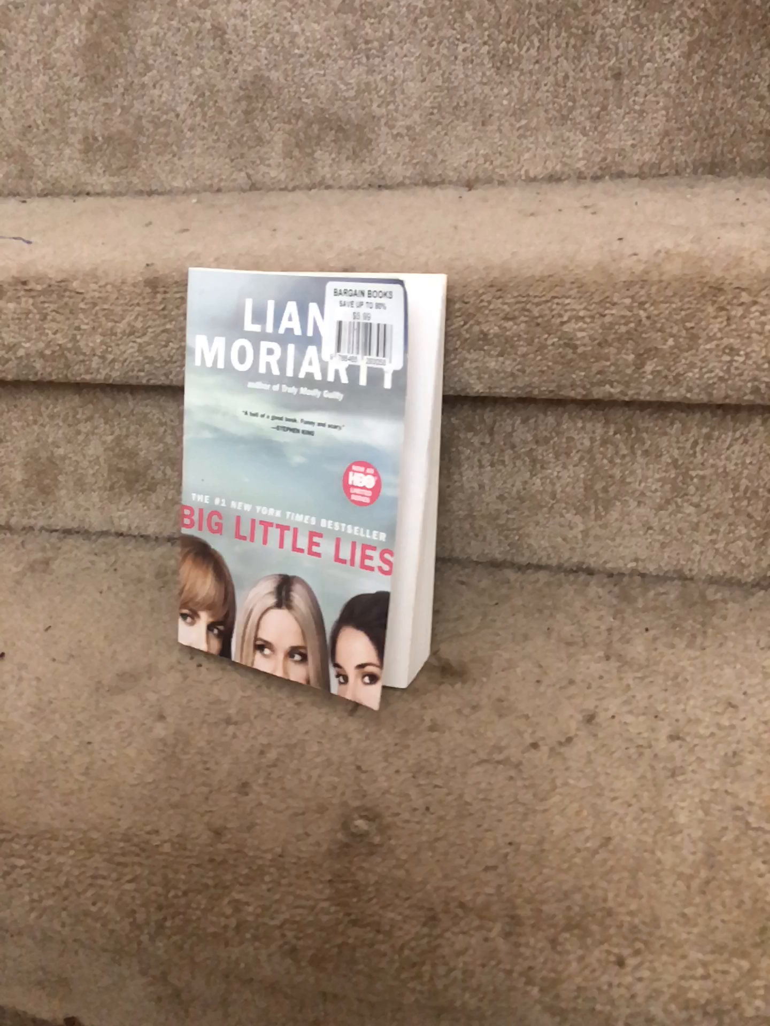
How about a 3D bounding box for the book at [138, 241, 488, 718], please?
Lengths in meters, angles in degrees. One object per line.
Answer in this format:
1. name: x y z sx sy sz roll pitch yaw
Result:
1. book: -0.043 -0.023 0.429 0.160 0.209 0.050 10 13 23
